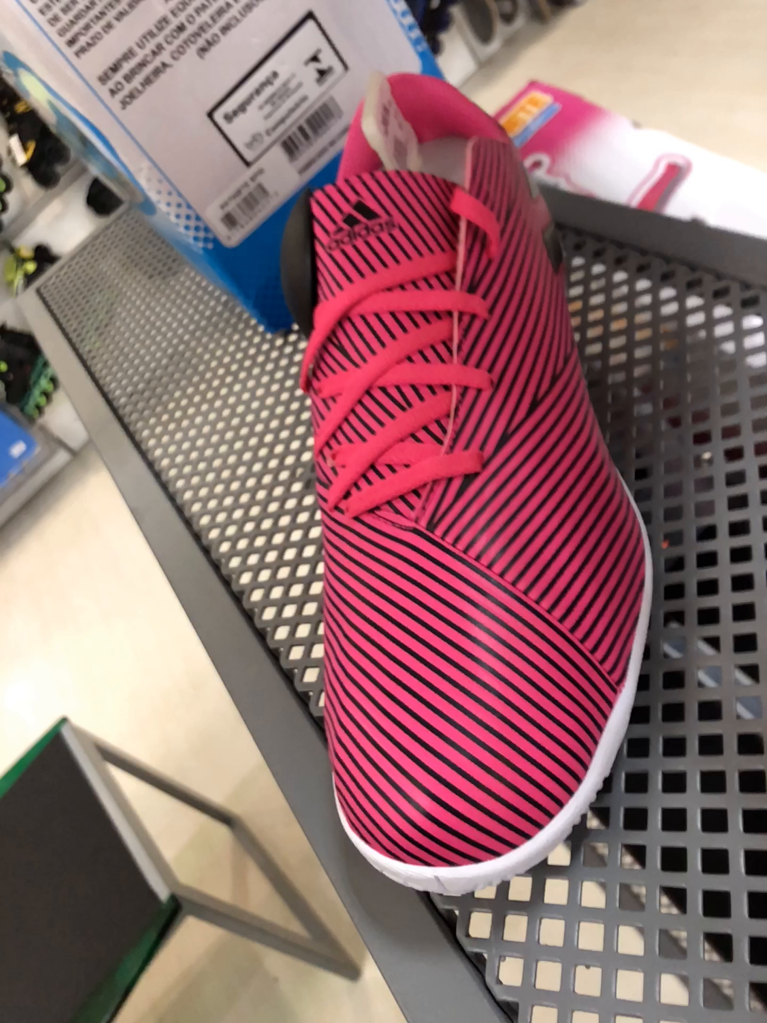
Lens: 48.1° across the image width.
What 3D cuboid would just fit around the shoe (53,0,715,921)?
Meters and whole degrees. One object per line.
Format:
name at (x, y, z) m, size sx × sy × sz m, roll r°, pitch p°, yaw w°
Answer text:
shoe at (0.018, -0.034, 0.253) m, size 0.095 × 0.099 × 0.261 m, roll -17°, pitch 45°, yaw 29°
